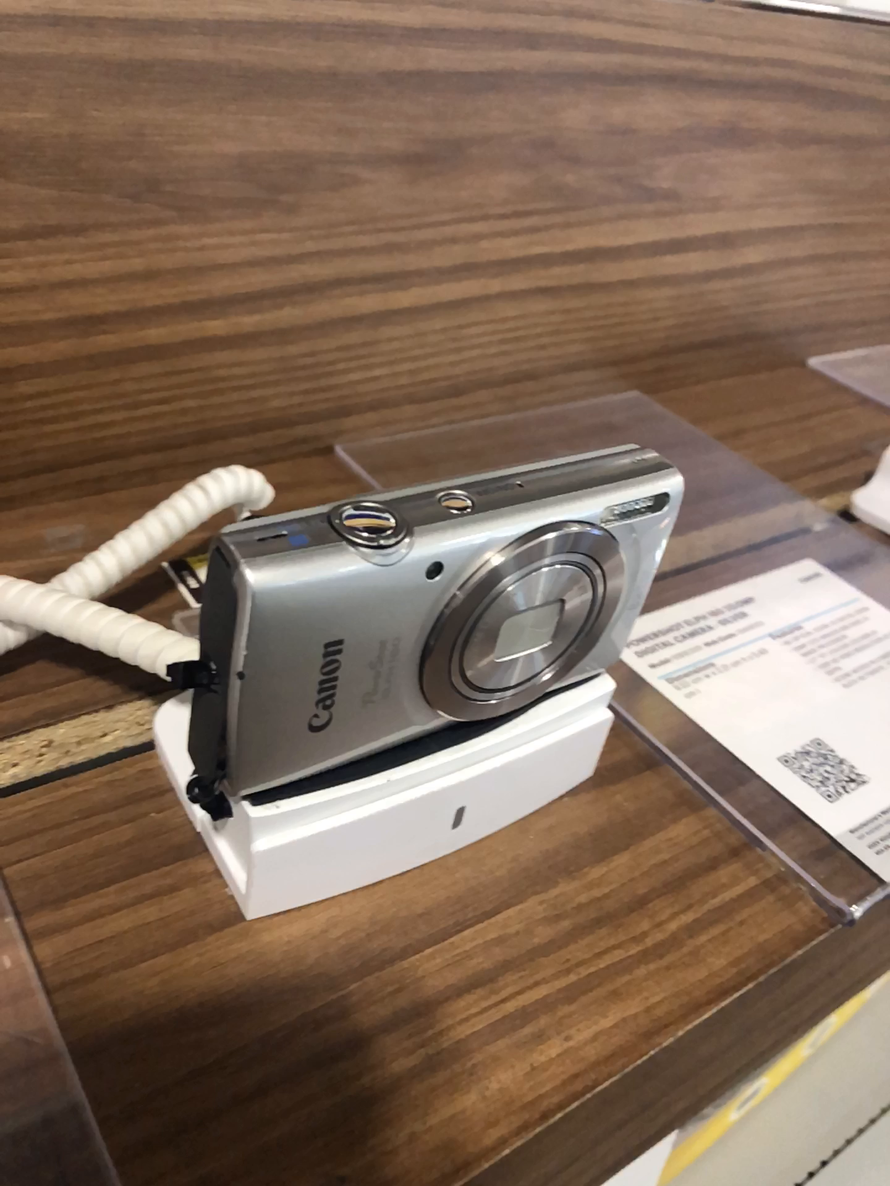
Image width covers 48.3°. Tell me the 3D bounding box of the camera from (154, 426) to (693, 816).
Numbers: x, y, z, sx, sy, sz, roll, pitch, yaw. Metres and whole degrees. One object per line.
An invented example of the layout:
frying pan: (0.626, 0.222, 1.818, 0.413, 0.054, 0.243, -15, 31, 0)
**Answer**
camera: (-0.002, 0.002, 0.189, 0.100, 0.050, 0.020, -15, 44, -31)
